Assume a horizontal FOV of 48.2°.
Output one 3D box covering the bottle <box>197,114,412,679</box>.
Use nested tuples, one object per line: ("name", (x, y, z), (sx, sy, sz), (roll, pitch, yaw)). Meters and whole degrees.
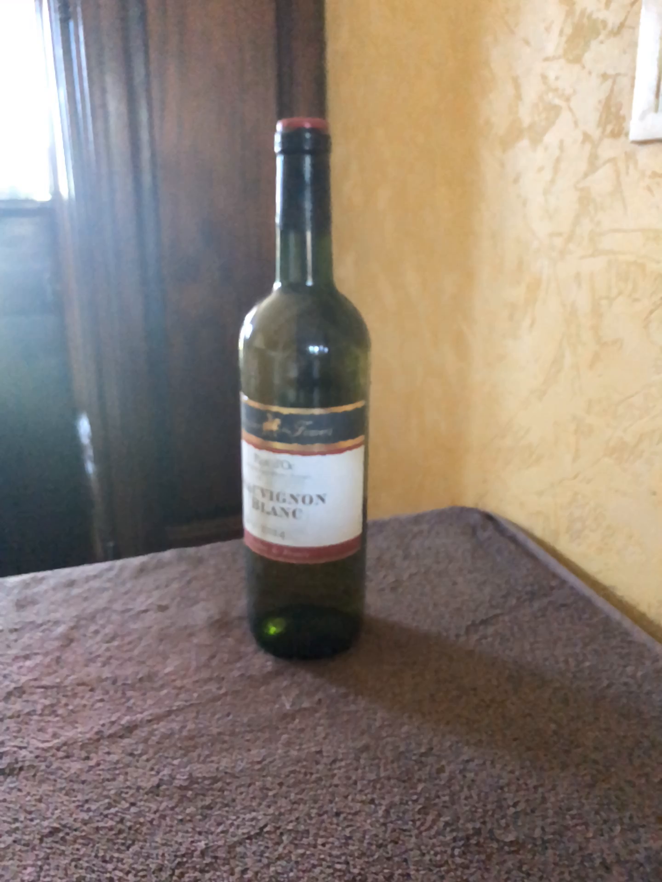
("bottle", (-0.011, -0.023, 0.422), (0.080, 0.289, 0.080), (0, 16, 0))
